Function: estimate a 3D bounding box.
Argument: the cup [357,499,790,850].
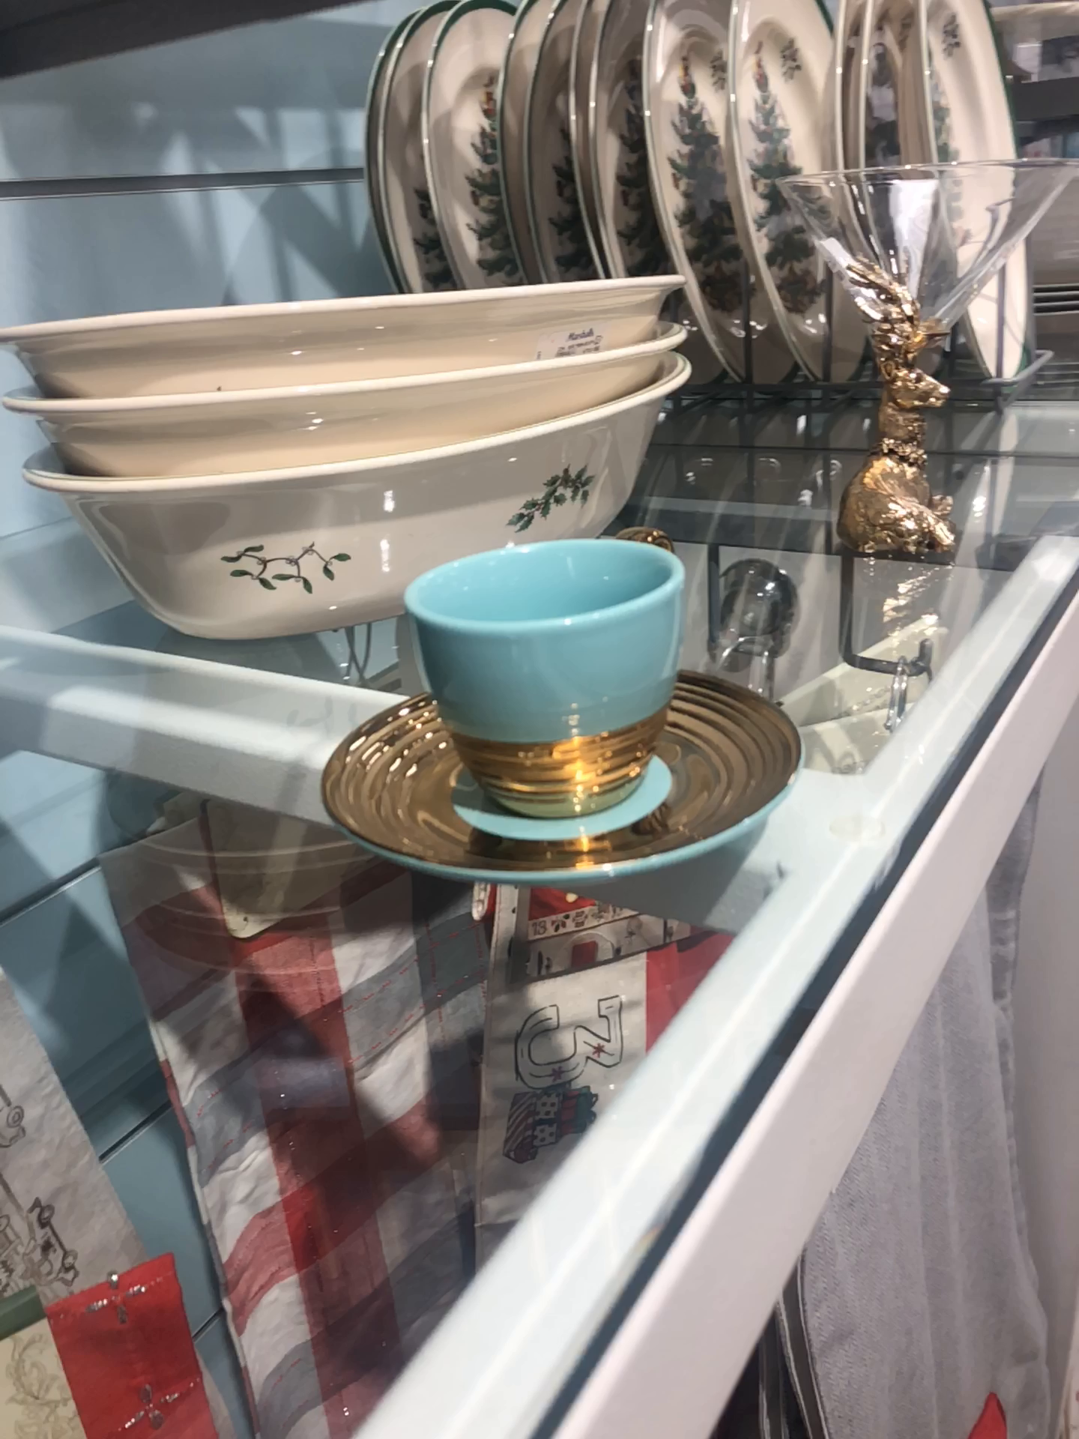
[{"bbox_3d":[0.013,-0.017,0.283,0.070,0.050,0.084,7,26,27],"label":"cup"}]
